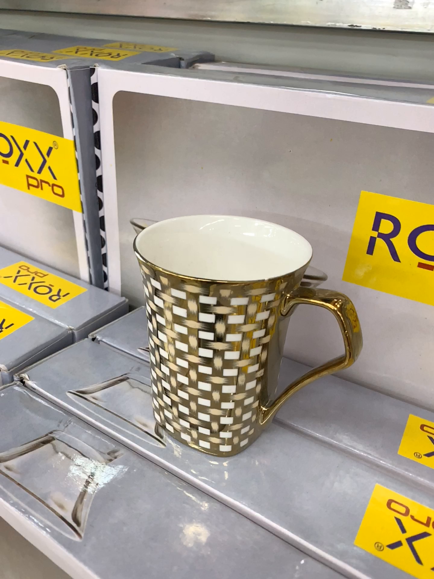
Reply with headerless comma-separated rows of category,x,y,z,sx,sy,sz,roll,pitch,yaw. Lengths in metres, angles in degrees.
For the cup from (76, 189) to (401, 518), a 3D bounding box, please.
cup,0.010,0.018,0.208,0.110,0.089,0.080,18,32,23
